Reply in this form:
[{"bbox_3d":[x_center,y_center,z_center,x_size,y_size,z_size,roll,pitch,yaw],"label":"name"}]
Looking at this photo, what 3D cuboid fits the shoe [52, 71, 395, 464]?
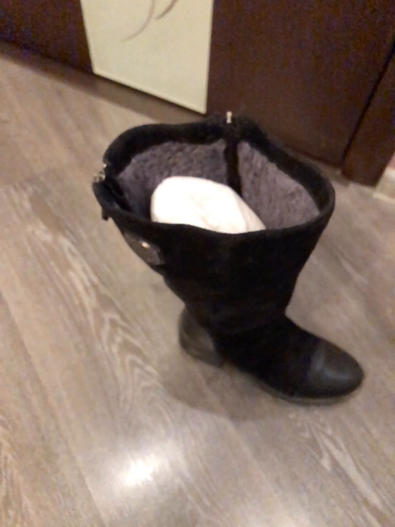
[{"bbox_3d":[0.069,0.050,0.412,0.290,0.359,0.120,18,61,8],"label":"shoe"}]
